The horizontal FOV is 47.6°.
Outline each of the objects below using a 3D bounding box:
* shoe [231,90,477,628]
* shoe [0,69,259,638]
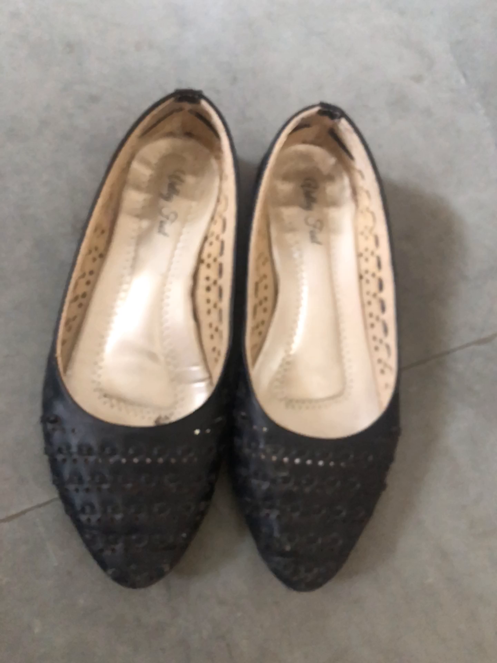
[{"bbox_3d":[0.044,0.009,0.291,0.096,0.073,0.242,2,77,-7],"label":"shoe"},{"bbox_3d":[-0.053,0.005,0.273,0.096,0.062,0.242,5,76,-6],"label":"shoe"}]
